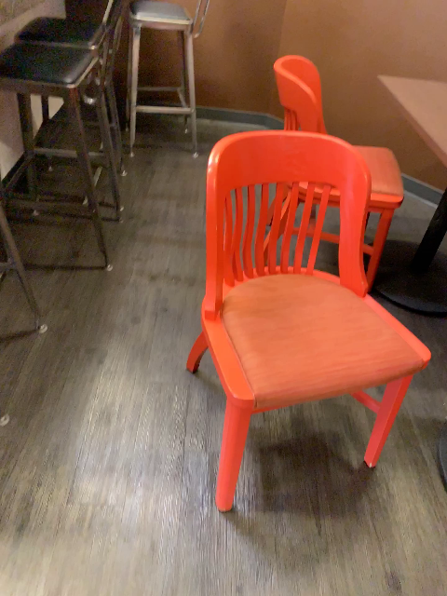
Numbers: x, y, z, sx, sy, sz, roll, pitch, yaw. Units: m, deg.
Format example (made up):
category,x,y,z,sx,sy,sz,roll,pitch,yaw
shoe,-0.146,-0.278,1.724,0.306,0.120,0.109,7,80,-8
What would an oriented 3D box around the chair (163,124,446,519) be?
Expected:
category,x,y,z,sx,sy,sz,roll,pitch,yaw
chair,0.190,0.049,1.230,0.561,0.806,0.582,-8,43,-19
